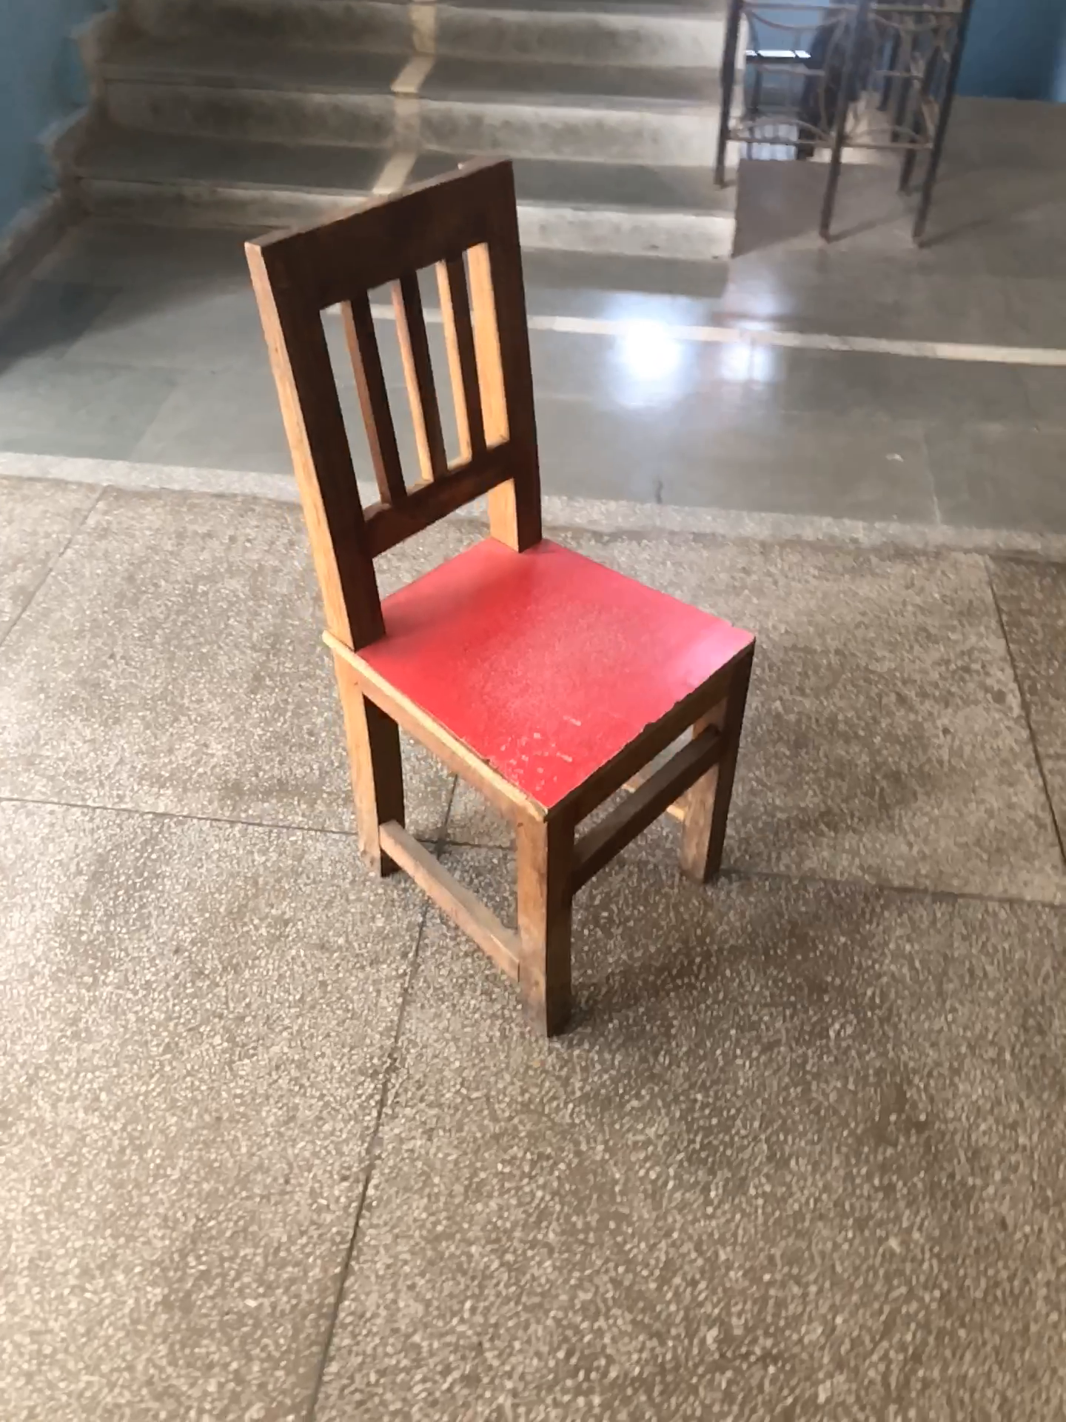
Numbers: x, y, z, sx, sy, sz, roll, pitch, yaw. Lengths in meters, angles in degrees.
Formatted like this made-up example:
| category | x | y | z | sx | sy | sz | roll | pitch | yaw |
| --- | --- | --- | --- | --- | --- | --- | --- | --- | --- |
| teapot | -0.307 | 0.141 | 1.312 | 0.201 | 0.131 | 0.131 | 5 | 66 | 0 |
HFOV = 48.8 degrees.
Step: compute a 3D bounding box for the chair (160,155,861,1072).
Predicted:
| category | x | y | z | sx | sy | sz | roll | pitch | yaw |
| --- | --- | --- | --- | --- | --- | --- | --- | --- | --- |
| chair | -0.029 | -0.092 | 1.319 | 0.481 | 0.817 | 0.401 | 30 | 49 | 28 |
